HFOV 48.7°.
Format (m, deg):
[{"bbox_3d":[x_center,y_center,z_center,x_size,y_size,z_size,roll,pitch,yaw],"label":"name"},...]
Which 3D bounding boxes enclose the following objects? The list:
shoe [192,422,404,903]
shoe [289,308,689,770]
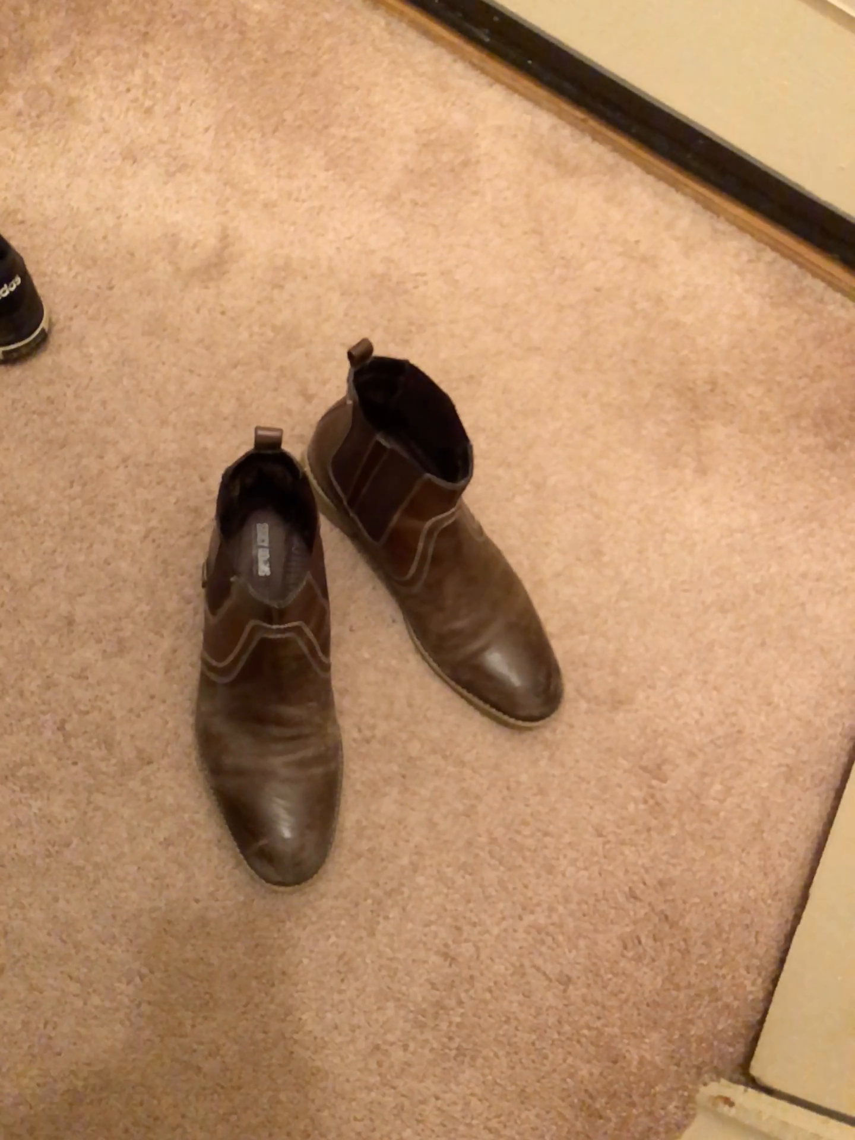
[{"bbox_3d":[-0.100,0.068,0.661,0.119,0.158,0.298,-1,72,-13],"label":"shoe"},{"bbox_3d":[0.031,-0.016,0.719,0.119,0.158,0.298,-32,81,-20],"label":"shoe"}]
